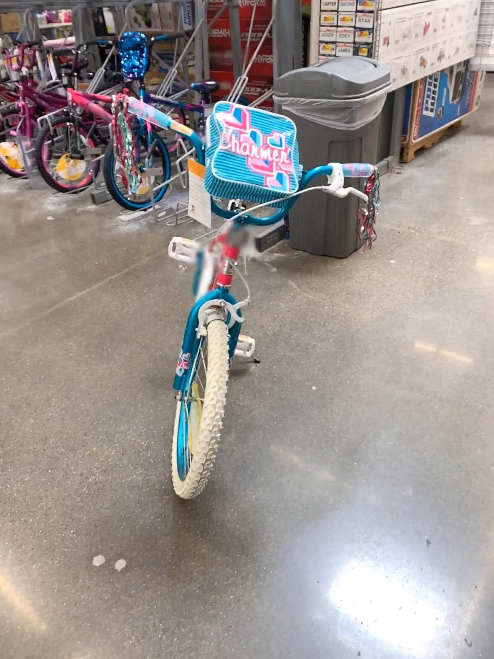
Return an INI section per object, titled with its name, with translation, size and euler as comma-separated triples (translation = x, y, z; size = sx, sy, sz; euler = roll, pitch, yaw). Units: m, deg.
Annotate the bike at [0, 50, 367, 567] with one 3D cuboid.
[bike]
translation = -0.077, -0.201, 1.589
size = 0.652, 0.929, 1.269
euler = -3, 36, 2
